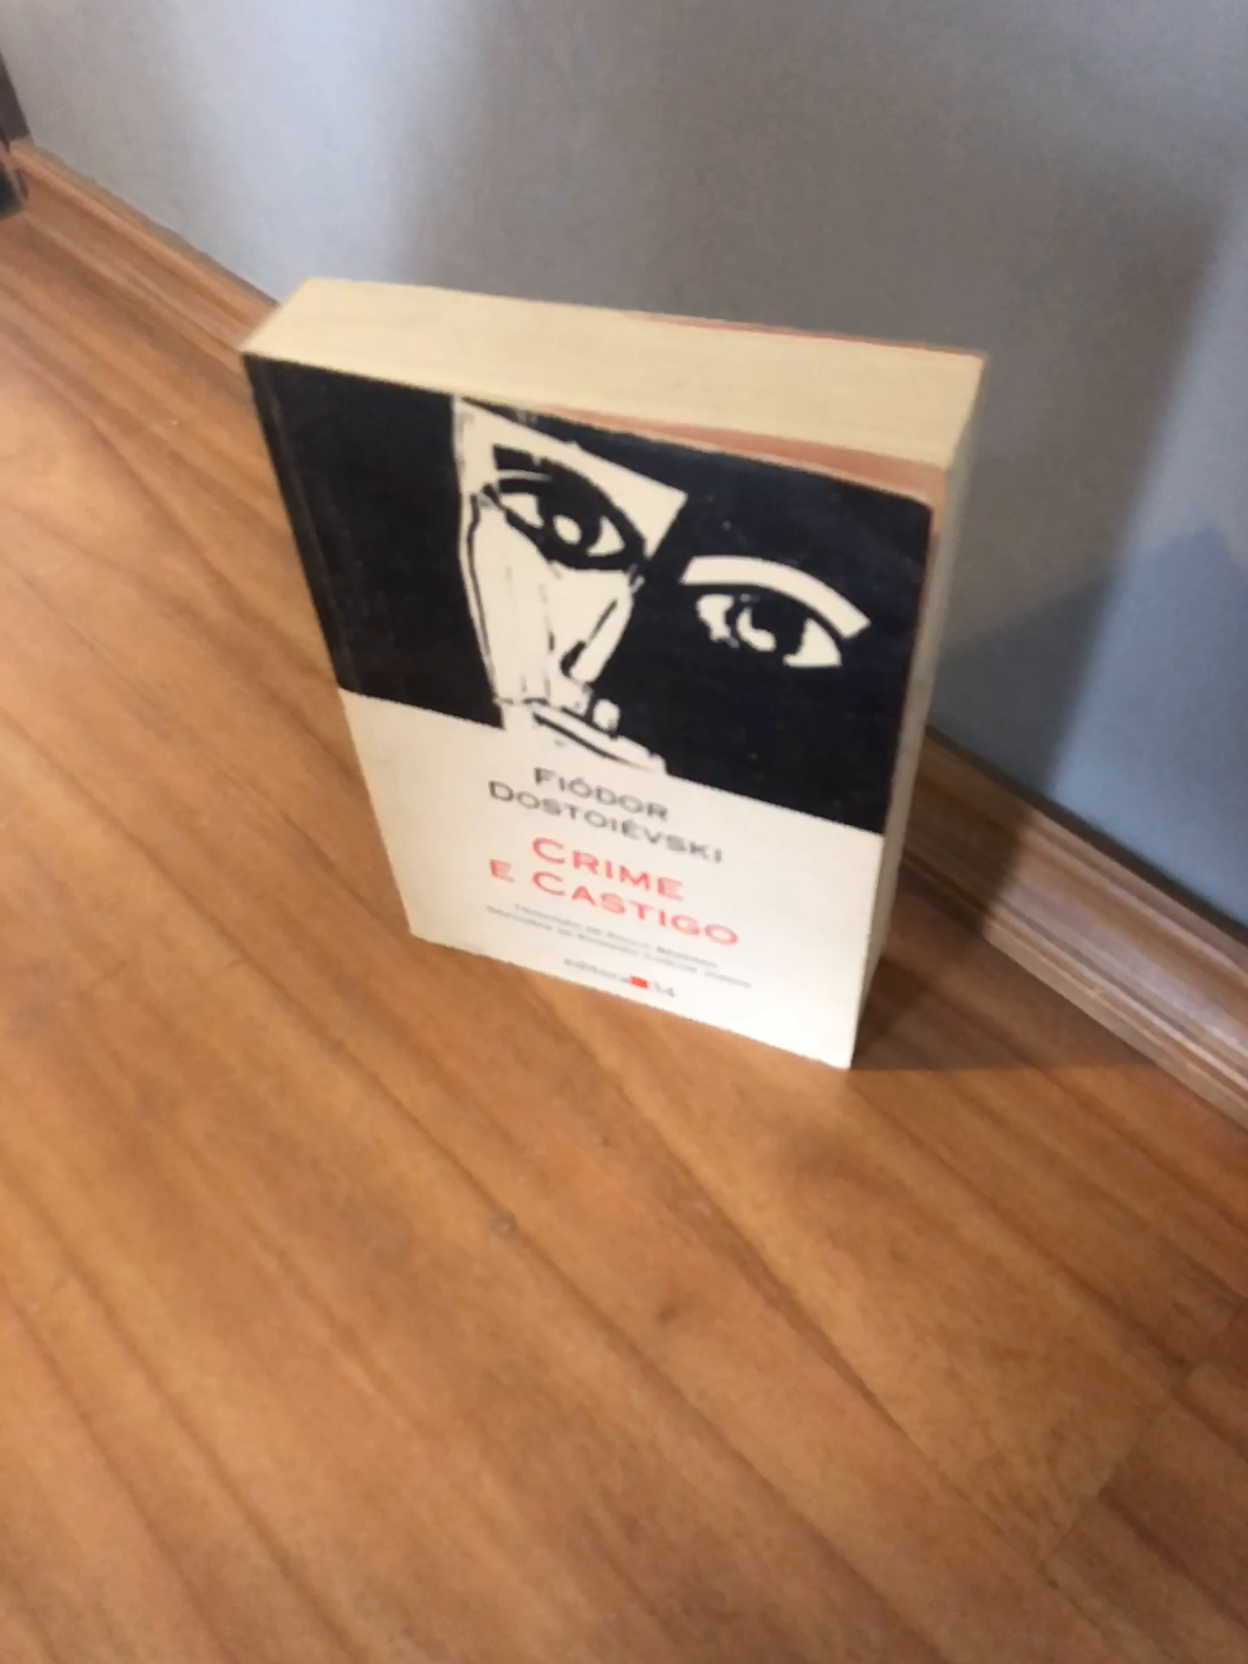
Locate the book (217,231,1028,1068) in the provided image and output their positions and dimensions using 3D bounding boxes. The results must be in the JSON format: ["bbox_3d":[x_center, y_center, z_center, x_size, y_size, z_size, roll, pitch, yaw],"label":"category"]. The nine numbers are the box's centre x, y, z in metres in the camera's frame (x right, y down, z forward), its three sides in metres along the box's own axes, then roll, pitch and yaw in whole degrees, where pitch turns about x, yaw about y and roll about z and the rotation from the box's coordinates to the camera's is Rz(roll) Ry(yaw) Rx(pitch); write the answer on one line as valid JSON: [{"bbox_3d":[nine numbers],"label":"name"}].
[{"bbox_3d":[0.000,-0.035,0.379,0.170,0.222,0.045,16,53,15],"label":"book"}]
